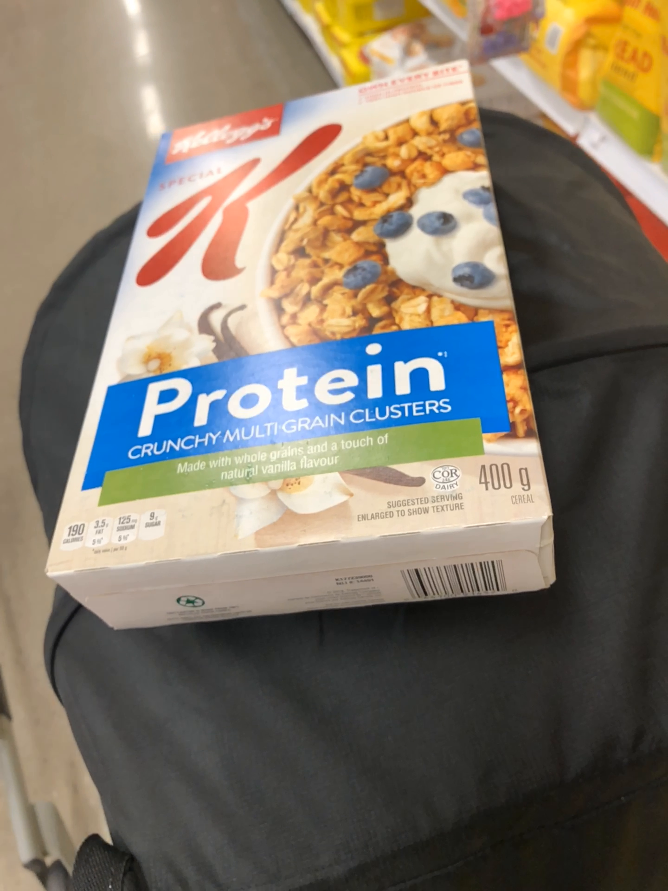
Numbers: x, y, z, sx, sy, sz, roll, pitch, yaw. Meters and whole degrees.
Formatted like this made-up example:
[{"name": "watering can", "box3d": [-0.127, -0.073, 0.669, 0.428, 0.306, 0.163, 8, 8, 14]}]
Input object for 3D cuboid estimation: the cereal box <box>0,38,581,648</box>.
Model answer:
[{"name": "cereal box", "box3d": [-0.018, -0.061, 0.317, 0.190, 0.050, 0.271, -8, 51, 13]}]
